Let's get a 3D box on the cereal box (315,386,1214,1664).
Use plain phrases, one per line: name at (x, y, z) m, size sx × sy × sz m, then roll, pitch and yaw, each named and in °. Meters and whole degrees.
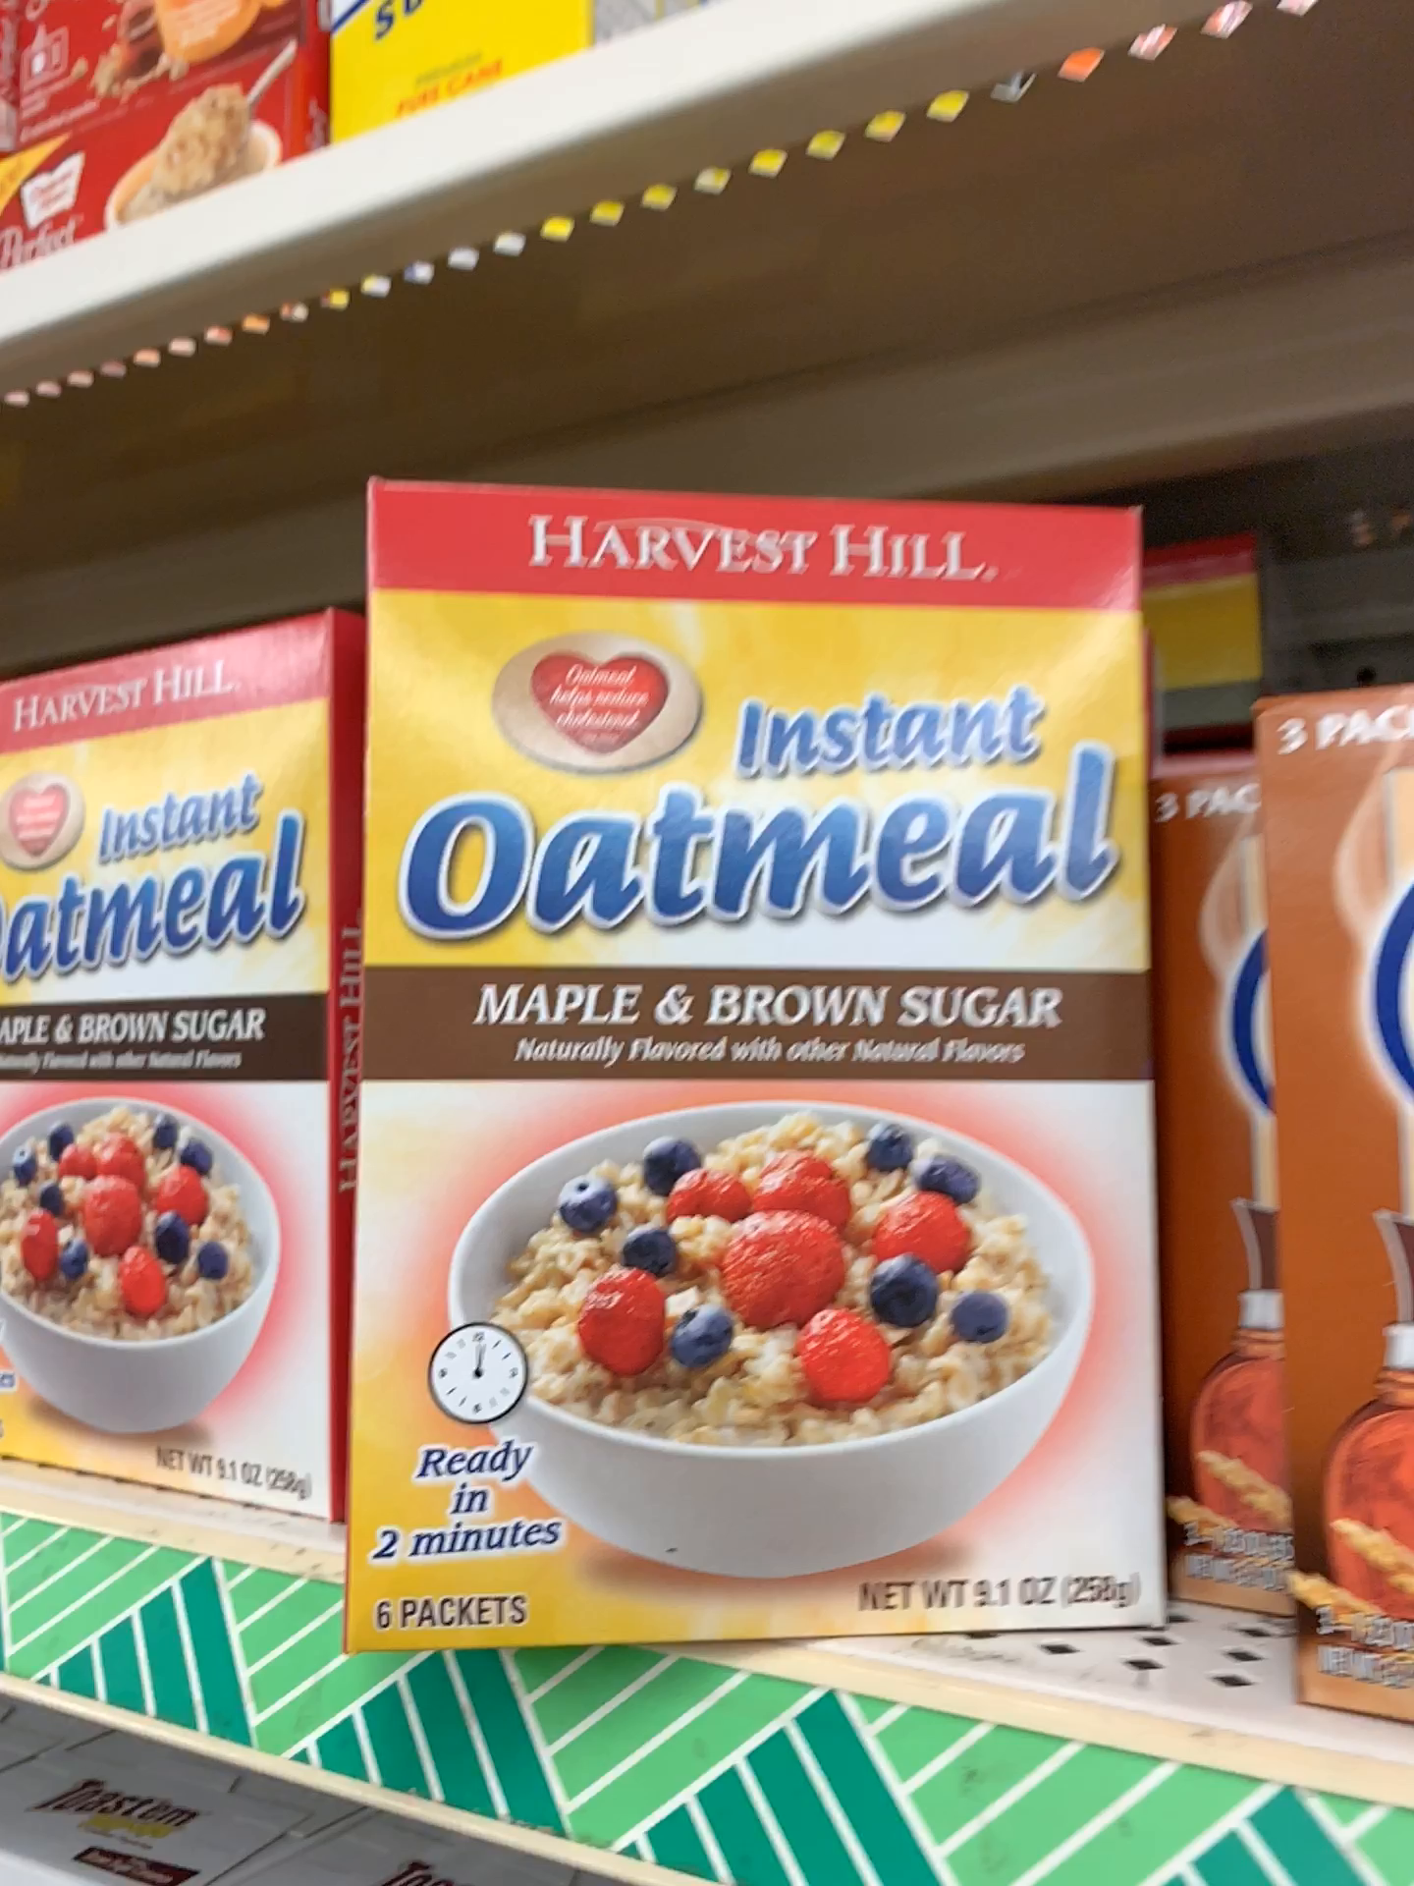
cereal box at (0.008, 0.011, 0.243) m, size 0.130 × 0.180 × 0.050 m, roll 1°, pitch -6°, yaw -9°
